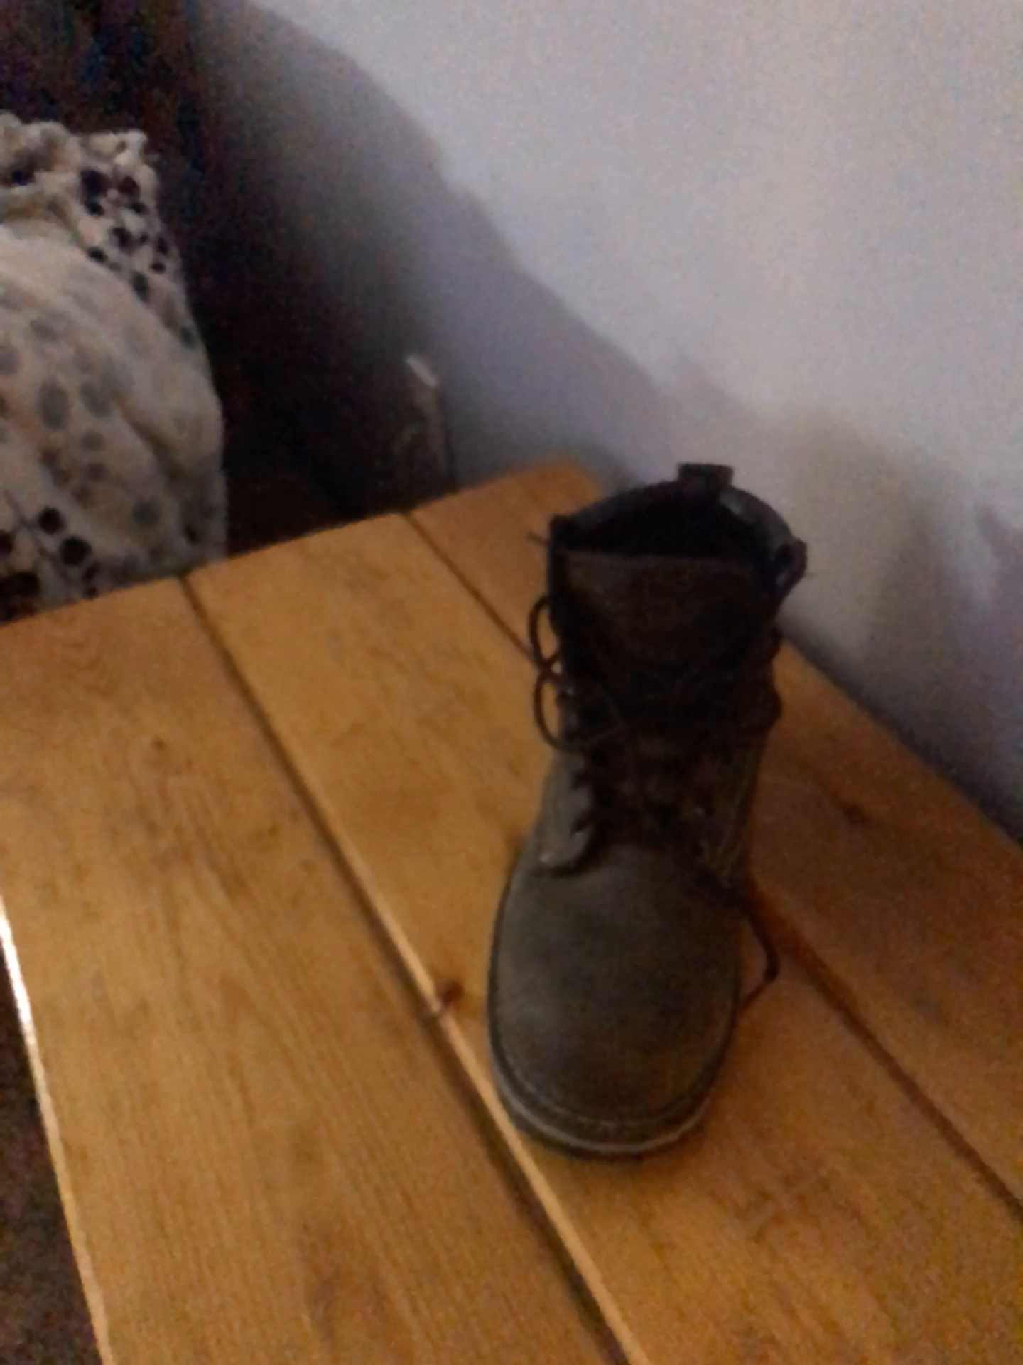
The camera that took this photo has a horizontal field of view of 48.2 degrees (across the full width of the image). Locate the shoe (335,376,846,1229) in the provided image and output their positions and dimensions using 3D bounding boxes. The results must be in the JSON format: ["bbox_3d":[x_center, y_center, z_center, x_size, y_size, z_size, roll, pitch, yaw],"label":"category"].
[{"bbox_3d":[0.056,0.028,0.513,0.130,0.189,0.321,10,42,13],"label":"shoe"}]
